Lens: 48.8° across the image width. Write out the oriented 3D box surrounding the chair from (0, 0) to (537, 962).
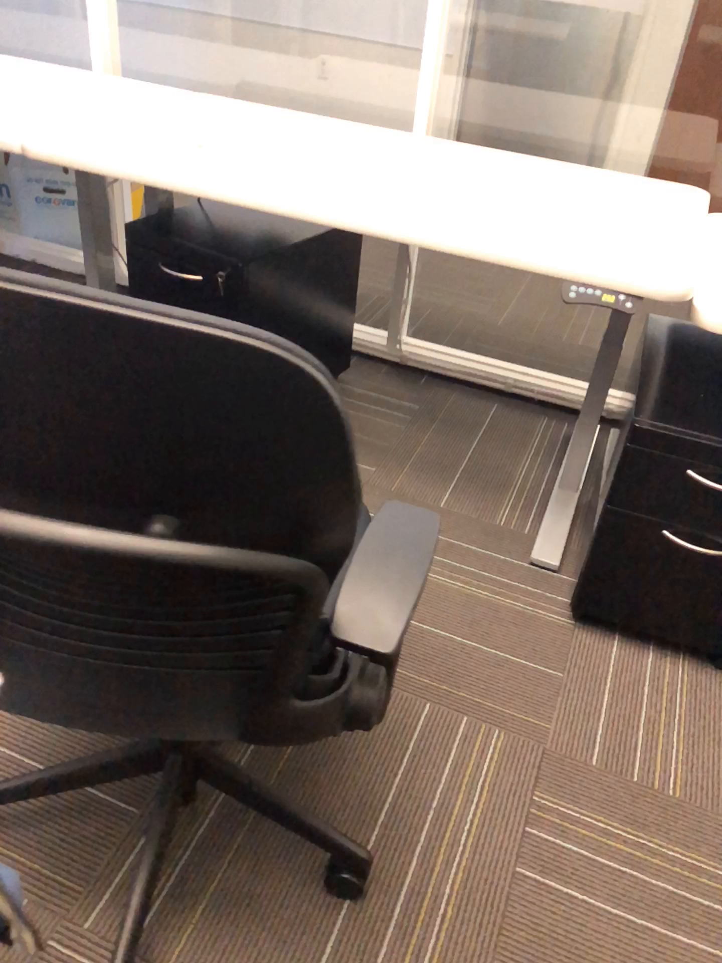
[{"bbox_3d":[-0.253,0.039,1.045,0.730,1.034,0.834,10,35,5],"label":"chair"}]
